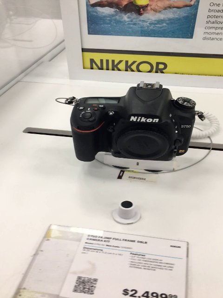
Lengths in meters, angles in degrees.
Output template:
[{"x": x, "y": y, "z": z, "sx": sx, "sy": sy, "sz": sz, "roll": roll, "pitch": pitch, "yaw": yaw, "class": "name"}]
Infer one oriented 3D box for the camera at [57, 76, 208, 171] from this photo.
[{"x": 0.028, "y": -0.033, "z": 0.377, "sx": 0.161, "sy": 0.092, "sz": 0.076, "roll": 5, "pitch": 42, "yaw": 6, "class": "camera"}]
